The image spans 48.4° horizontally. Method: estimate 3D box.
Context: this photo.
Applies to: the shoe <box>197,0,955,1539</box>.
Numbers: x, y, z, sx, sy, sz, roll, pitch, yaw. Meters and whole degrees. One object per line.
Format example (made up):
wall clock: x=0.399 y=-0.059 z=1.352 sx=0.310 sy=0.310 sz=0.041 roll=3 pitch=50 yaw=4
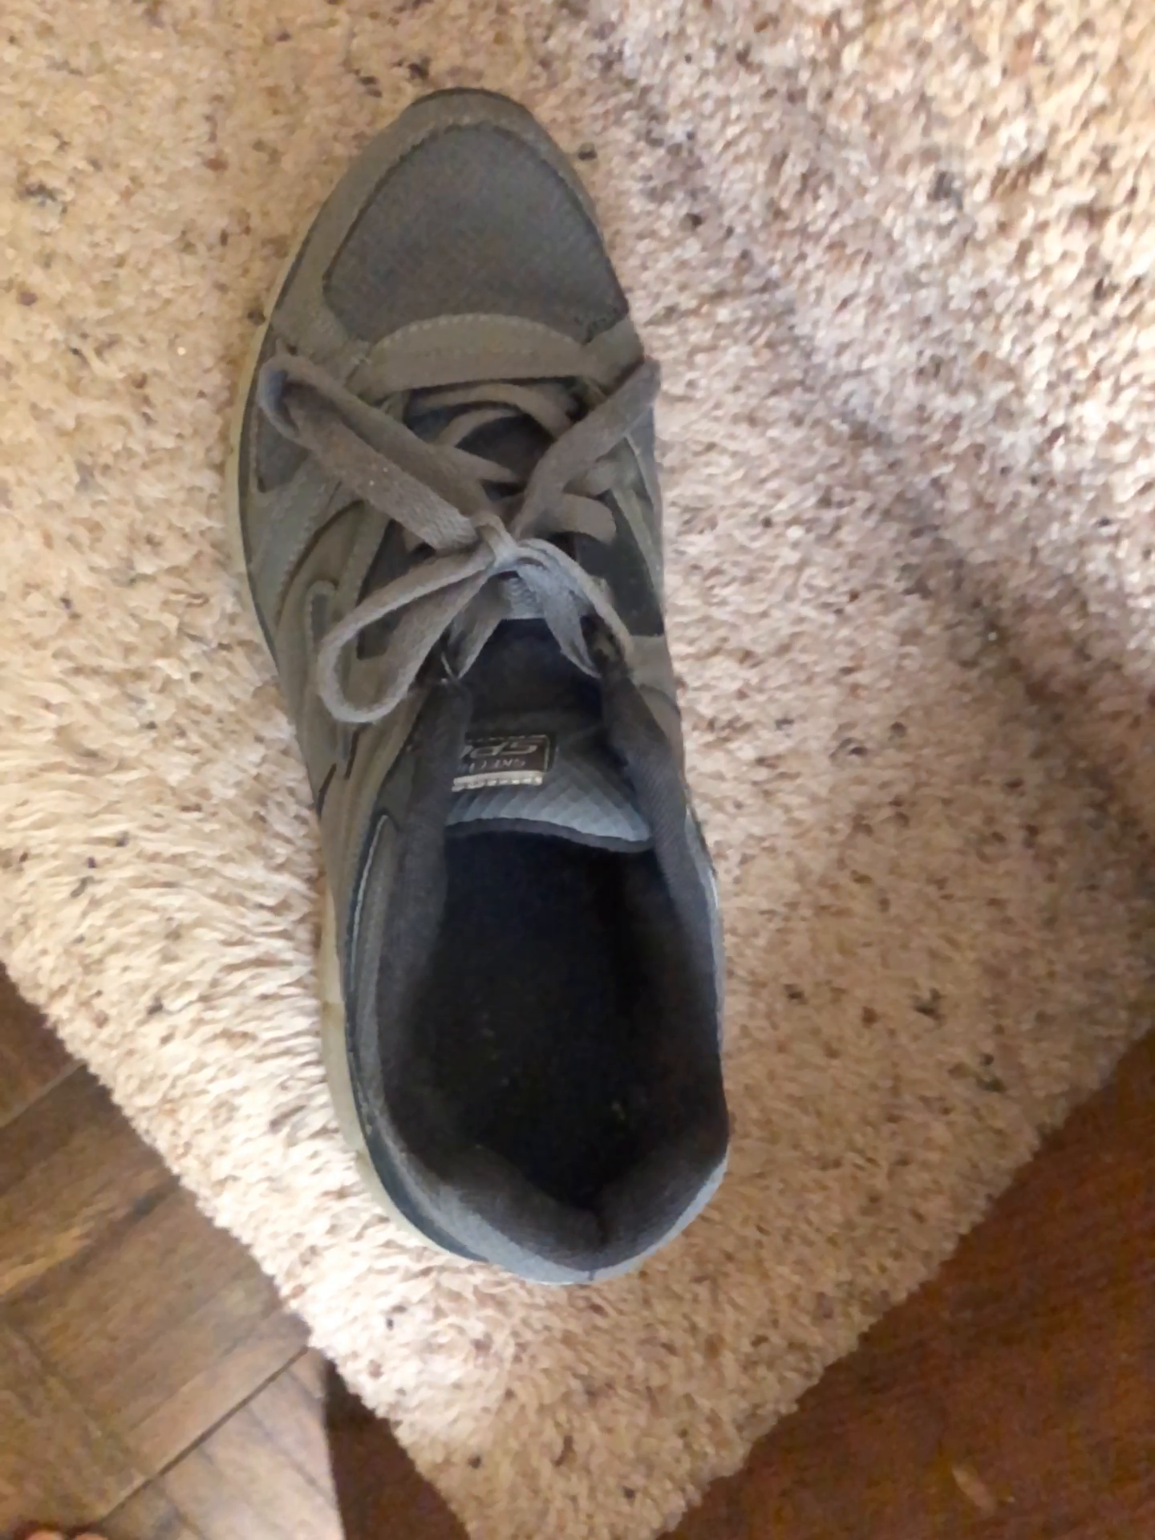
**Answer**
shoe: x=-0.014 y=-0.023 z=0.294 sx=0.110 sy=0.140 sz=0.300 roll=-5 pitch=90 yaw=-15
